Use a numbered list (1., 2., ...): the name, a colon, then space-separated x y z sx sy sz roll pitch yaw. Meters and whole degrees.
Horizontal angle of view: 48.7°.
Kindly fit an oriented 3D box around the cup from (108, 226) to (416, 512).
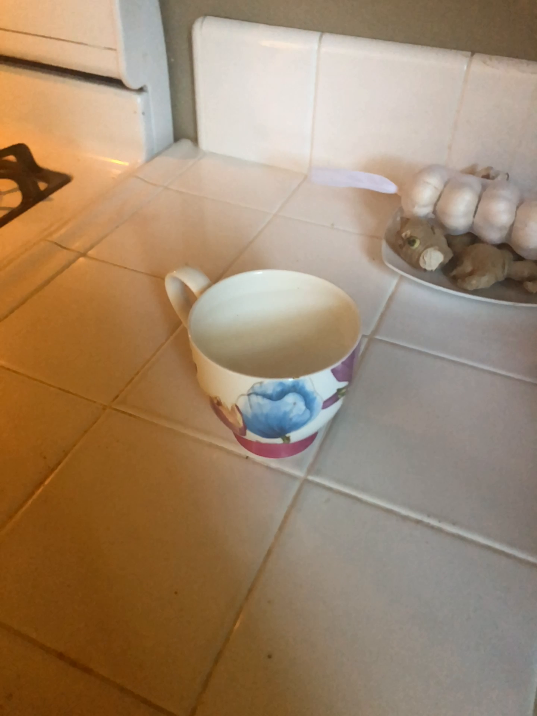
1. cup: -0.007 -0.002 0.405 0.170 0.089 0.101 30 50 27
